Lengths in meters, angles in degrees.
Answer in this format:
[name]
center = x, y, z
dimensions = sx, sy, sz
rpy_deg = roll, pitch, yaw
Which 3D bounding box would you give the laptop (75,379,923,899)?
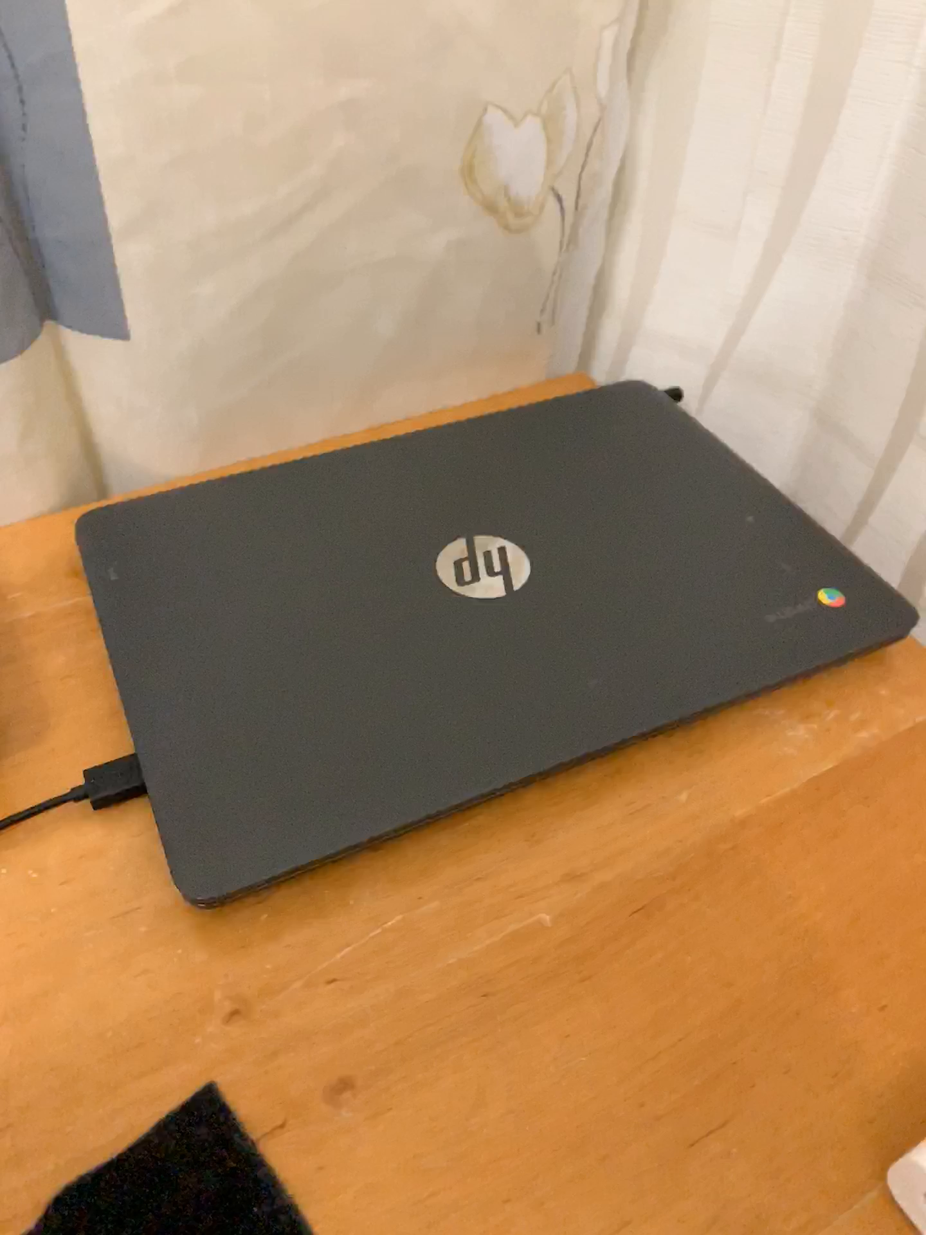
[laptop]
center = 0.005, -0.020, 0.384
dimensions = 0.281, 0.002, 0.195
rpy_deg = -18, 46, -18
